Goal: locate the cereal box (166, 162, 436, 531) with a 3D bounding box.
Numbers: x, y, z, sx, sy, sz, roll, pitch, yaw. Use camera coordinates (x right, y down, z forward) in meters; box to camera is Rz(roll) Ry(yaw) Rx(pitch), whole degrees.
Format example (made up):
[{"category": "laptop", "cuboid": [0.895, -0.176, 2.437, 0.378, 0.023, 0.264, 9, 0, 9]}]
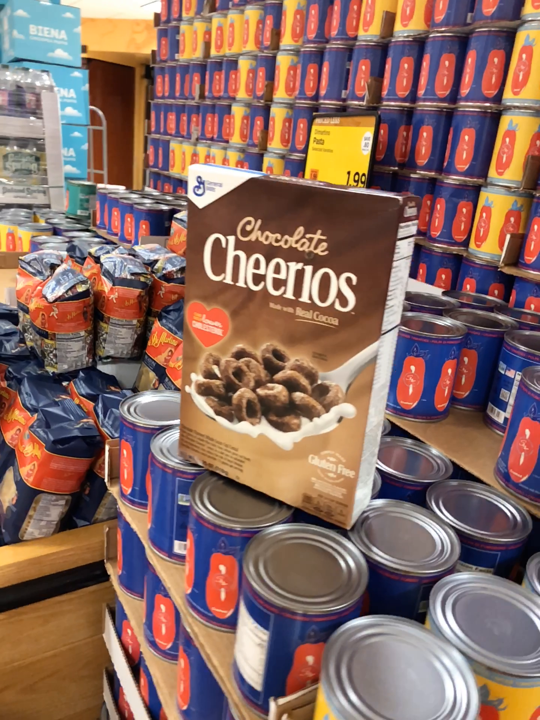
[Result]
[{"category": "cereal box", "cuboid": [0.011, -0.019, 0.526, 0.210, 0.278, 0.050, 16, 22, 27]}]
